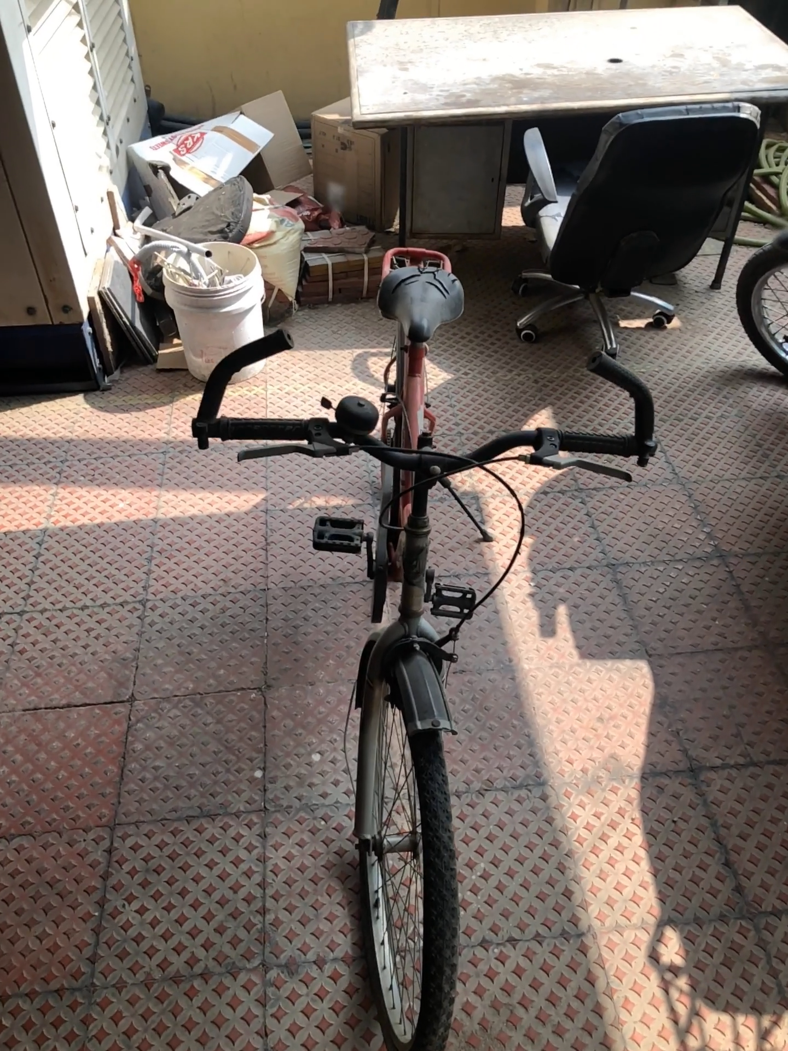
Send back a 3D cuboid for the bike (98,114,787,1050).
[{"bbox_3d":[0.055,0.007,1.578,0.575,0.964,1.619,0,42,-1],"label":"bike"}]
